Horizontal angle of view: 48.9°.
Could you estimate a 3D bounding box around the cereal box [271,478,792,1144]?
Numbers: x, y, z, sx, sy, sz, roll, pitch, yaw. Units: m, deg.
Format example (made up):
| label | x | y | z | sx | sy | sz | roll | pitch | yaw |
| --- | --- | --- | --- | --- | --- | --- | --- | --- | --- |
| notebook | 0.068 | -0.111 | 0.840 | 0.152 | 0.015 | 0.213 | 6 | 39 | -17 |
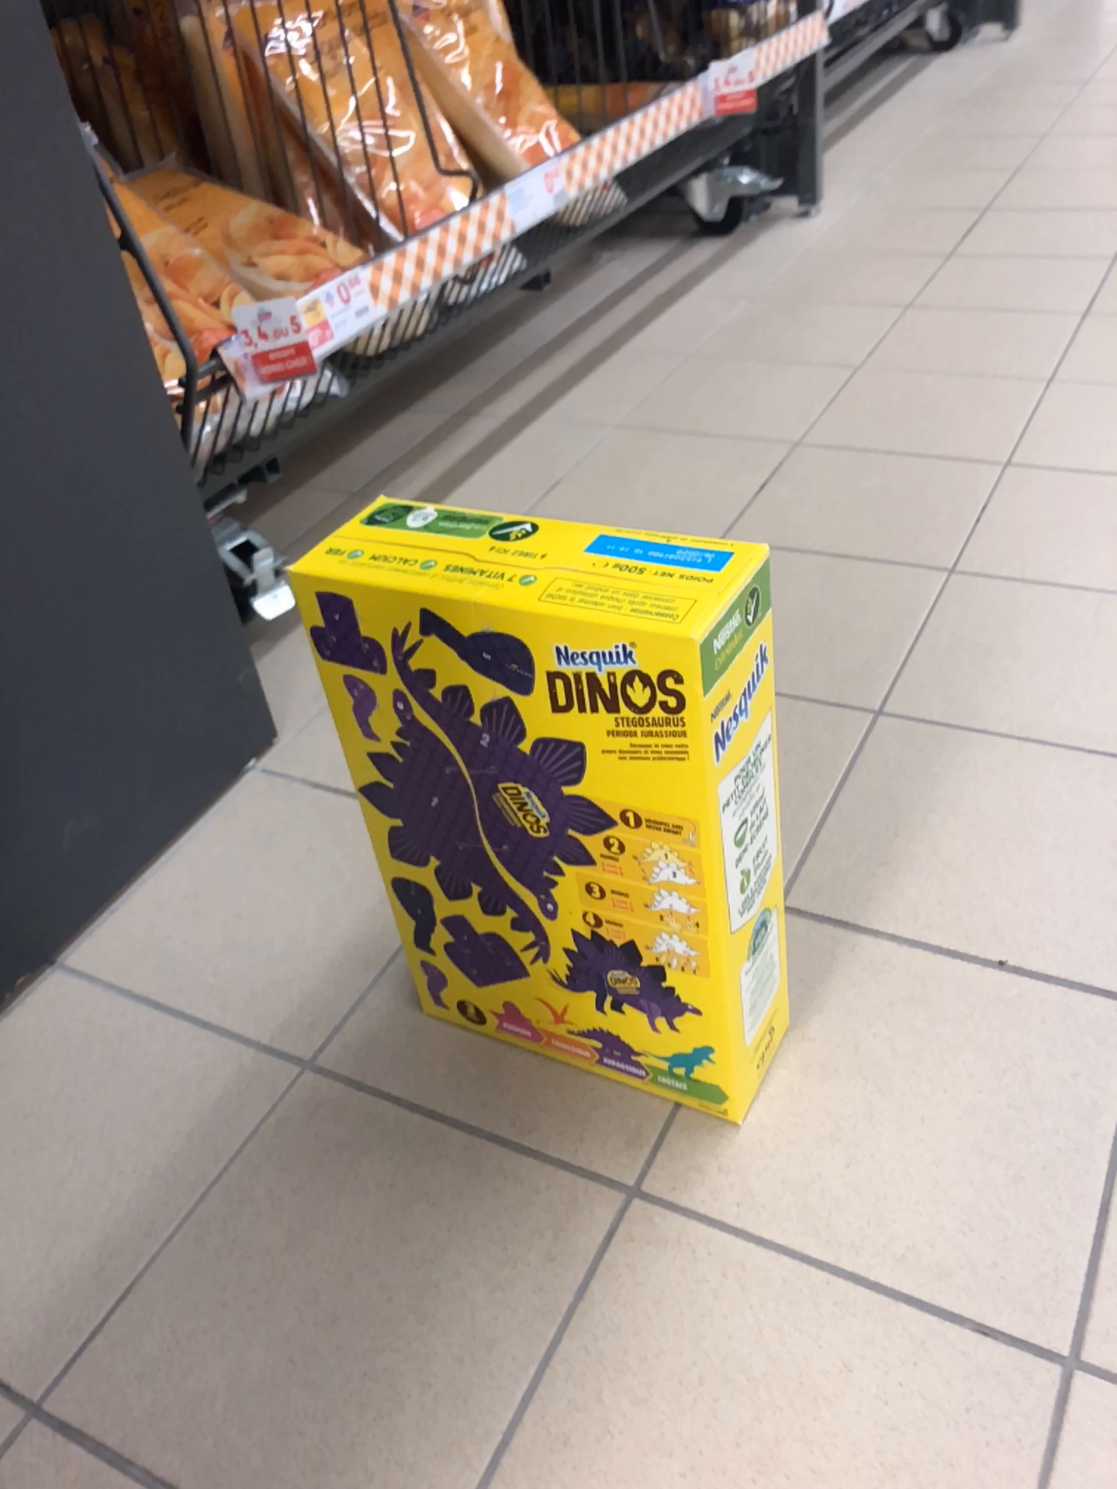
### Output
| label | x | y | z | sx | sy | sz | roll | pitch | yaw |
| --- | --- | --- | --- | --- | --- | --- | --- | --- | --- |
| cereal box | 0.002 | 0.037 | 0.581 | 0.200 | 0.298 | 0.070 | 13 | 41 | 26 |
